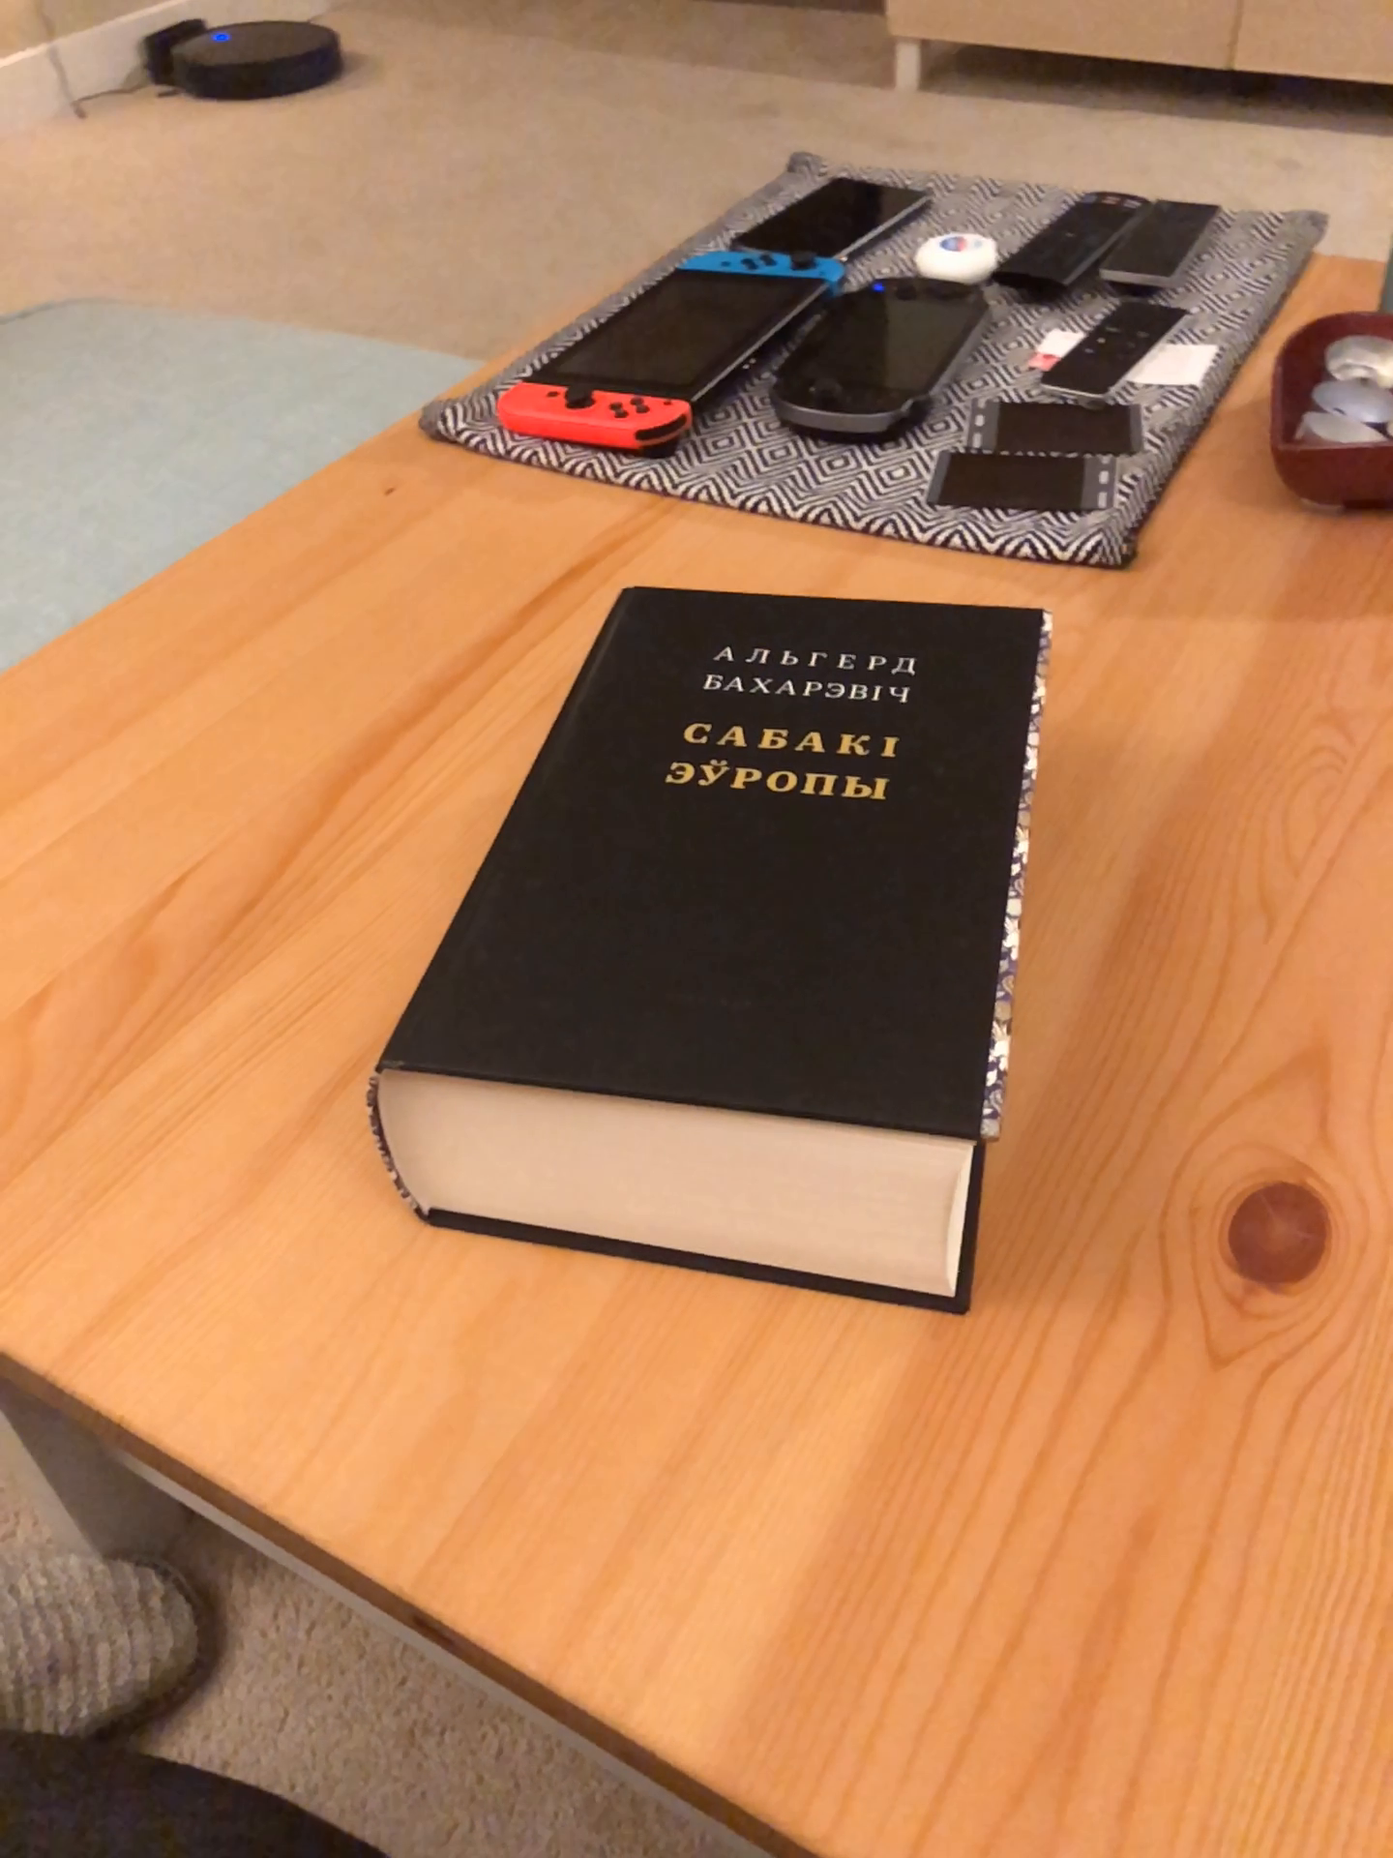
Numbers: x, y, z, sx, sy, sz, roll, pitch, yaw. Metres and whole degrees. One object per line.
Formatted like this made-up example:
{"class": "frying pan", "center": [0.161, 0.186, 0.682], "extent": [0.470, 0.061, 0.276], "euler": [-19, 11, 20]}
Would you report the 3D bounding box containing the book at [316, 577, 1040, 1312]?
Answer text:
{"class": "book", "center": [0.012, -0.014, 0.454], "extent": [0.157, 0.061, 0.230], "euler": [5, 45, 13]}
